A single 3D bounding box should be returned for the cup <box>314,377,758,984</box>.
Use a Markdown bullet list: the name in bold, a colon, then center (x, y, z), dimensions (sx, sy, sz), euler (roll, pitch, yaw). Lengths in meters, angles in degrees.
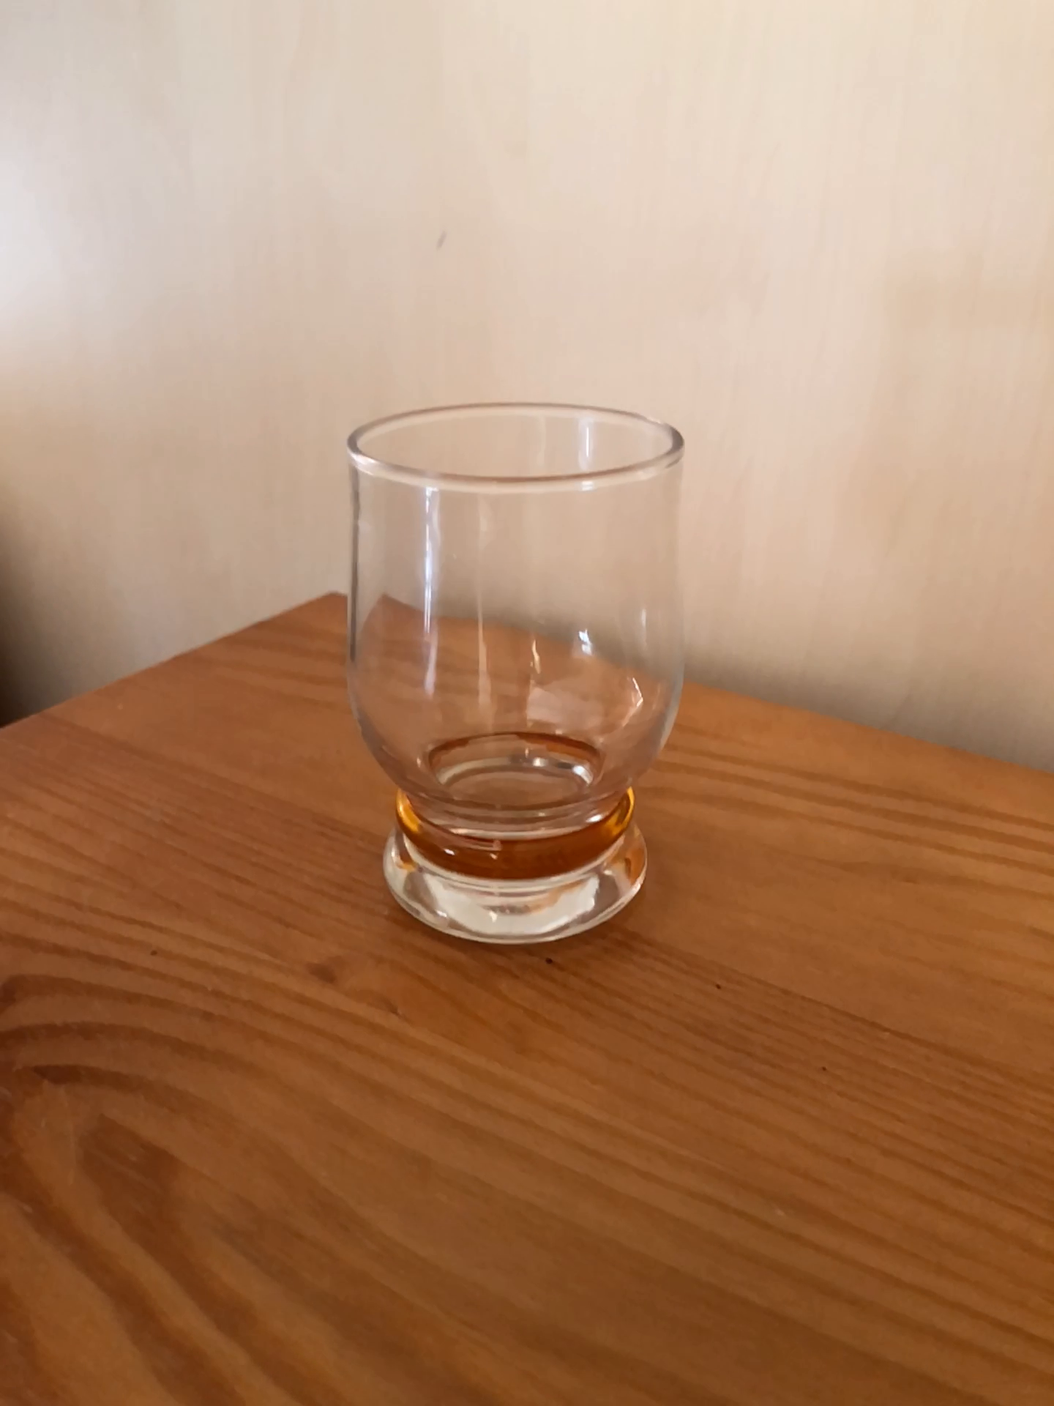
- **cup**: center (0.006, -0.010, 0.248), dimensions (0.073, 0.099, 0.076), euler (1, 25, 0)
